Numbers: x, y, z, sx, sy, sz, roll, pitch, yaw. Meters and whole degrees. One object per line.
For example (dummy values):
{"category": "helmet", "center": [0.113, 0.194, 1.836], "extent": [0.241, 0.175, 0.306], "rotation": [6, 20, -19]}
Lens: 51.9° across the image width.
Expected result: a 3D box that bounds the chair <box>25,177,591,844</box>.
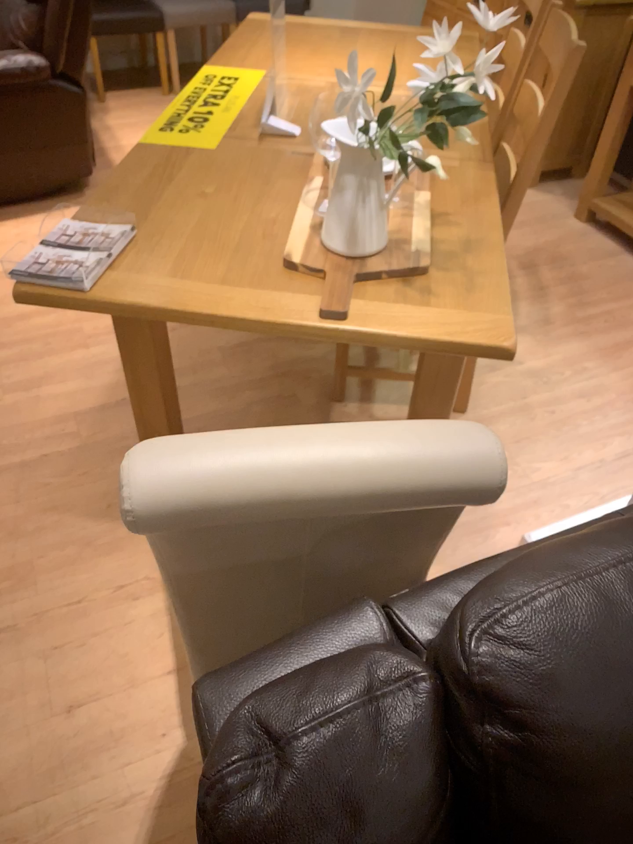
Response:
{"category": "chair", "center": [-0.050, 0.190, 1.098], "extent": [0.476, 0.945, 0.639], "rotation": [-3, 44, -6]}
